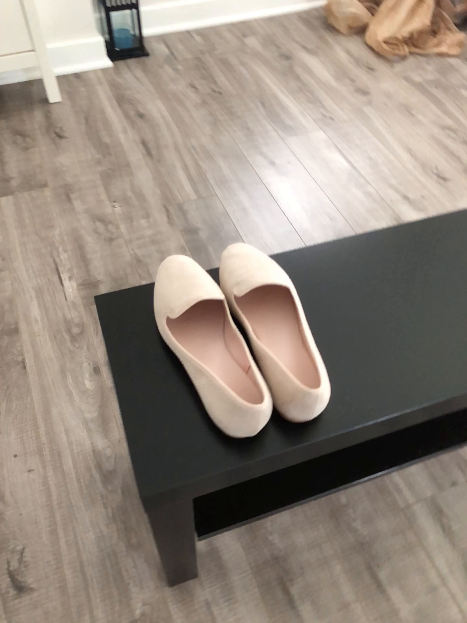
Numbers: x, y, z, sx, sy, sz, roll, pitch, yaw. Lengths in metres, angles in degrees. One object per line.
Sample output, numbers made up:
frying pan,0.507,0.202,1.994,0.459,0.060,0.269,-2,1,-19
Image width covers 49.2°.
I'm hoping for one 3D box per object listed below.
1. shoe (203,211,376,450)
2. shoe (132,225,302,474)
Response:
shoe,0.047,0.008,0.562,0.090,0.070,0.260,-14,54,-12
shoe,-0.028,0.027,0.540,0.080,0.070,0.260,-18,55,-15
